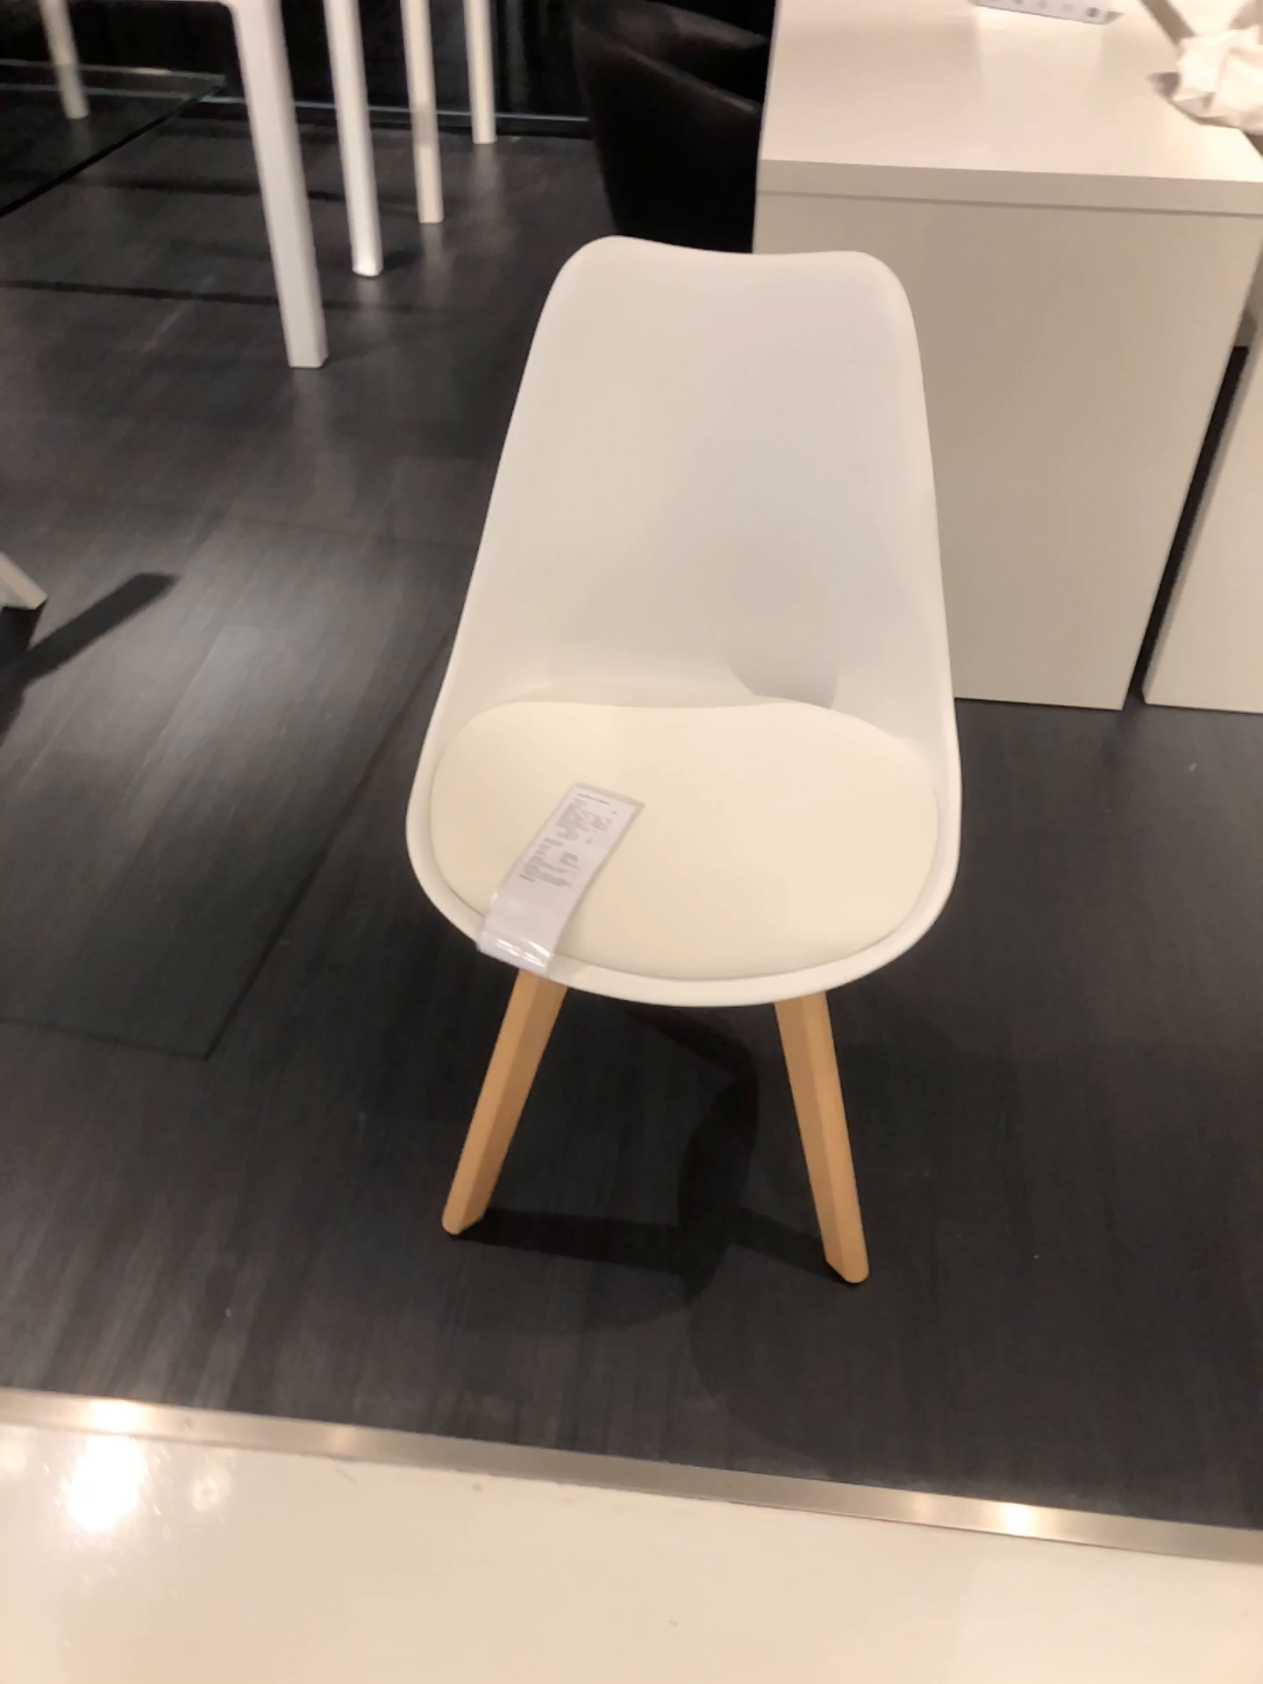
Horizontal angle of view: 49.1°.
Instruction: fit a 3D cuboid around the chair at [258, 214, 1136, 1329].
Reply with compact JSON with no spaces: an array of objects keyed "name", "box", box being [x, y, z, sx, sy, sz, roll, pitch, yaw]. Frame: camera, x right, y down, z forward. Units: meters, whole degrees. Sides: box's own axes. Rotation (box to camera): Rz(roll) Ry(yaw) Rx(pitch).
[{"name":"chair","box":[0.060,-0.052,1.238,0.500,0.784,0.534,6,41,6]}]
